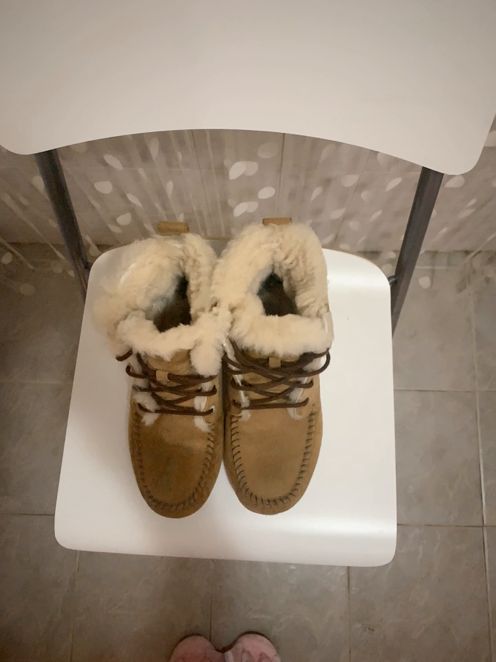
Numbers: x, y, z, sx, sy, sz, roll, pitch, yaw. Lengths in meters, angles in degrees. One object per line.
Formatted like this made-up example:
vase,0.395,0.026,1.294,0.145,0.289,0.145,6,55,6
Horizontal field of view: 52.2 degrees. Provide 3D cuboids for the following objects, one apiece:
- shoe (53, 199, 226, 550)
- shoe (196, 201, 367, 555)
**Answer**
shoe,-0.077,0.038,0.439,0.106,0.156,0.251,0,79,1
shoe,0.023,0.041,0.437,0.113,0.157,0.251,0,79,1
